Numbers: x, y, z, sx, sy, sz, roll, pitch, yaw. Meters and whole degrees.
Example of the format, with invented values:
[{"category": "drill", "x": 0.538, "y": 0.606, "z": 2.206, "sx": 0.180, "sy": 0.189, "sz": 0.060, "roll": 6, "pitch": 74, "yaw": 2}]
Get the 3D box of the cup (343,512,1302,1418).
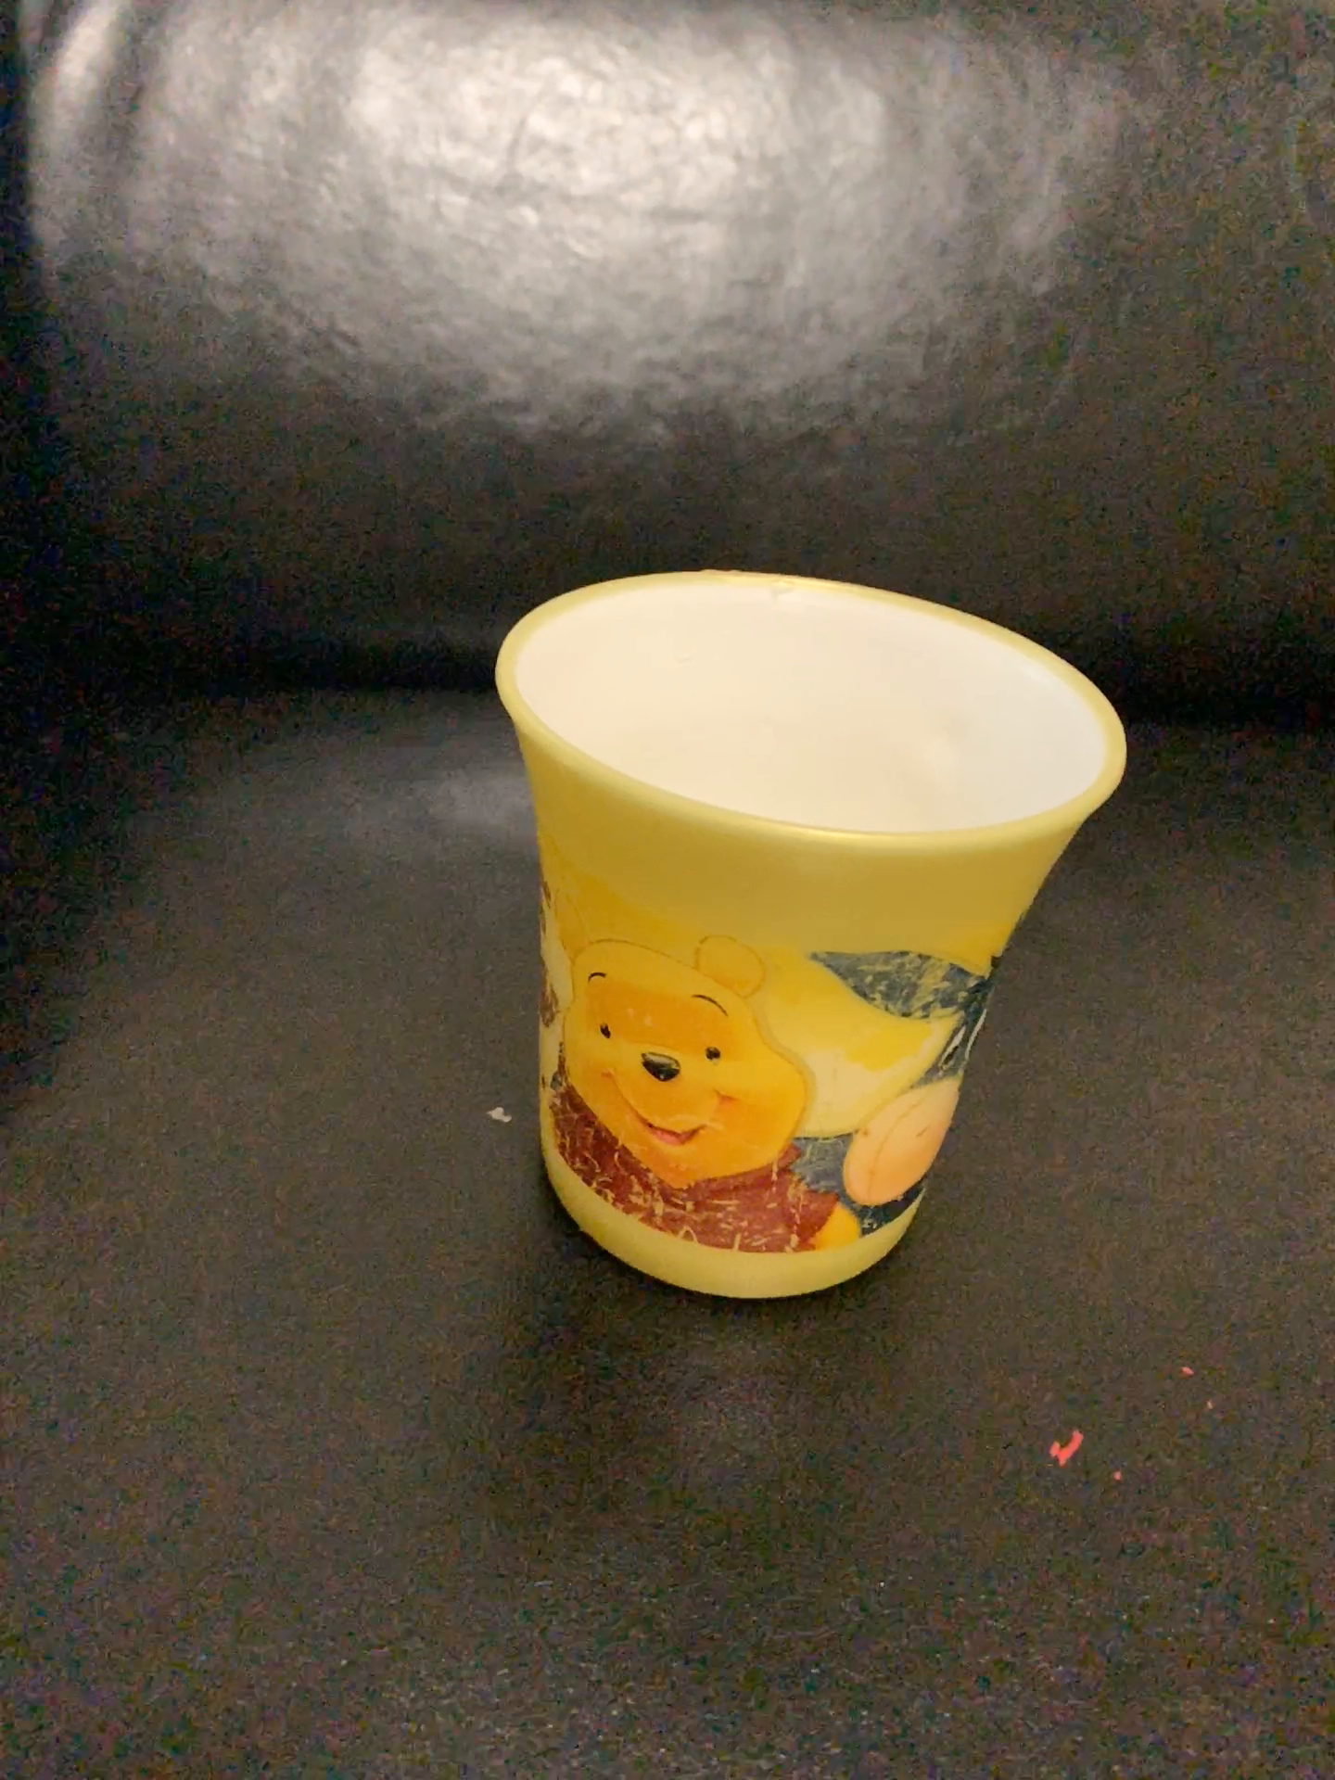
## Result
[{"category": "cup", "x": 0.025, "y": -0.003, "z": 0.227, "sx": 0.090, "sy": 0.080, "sz": 0.120, "roll": 27, "pitch": 36, "yaw": 33}]
